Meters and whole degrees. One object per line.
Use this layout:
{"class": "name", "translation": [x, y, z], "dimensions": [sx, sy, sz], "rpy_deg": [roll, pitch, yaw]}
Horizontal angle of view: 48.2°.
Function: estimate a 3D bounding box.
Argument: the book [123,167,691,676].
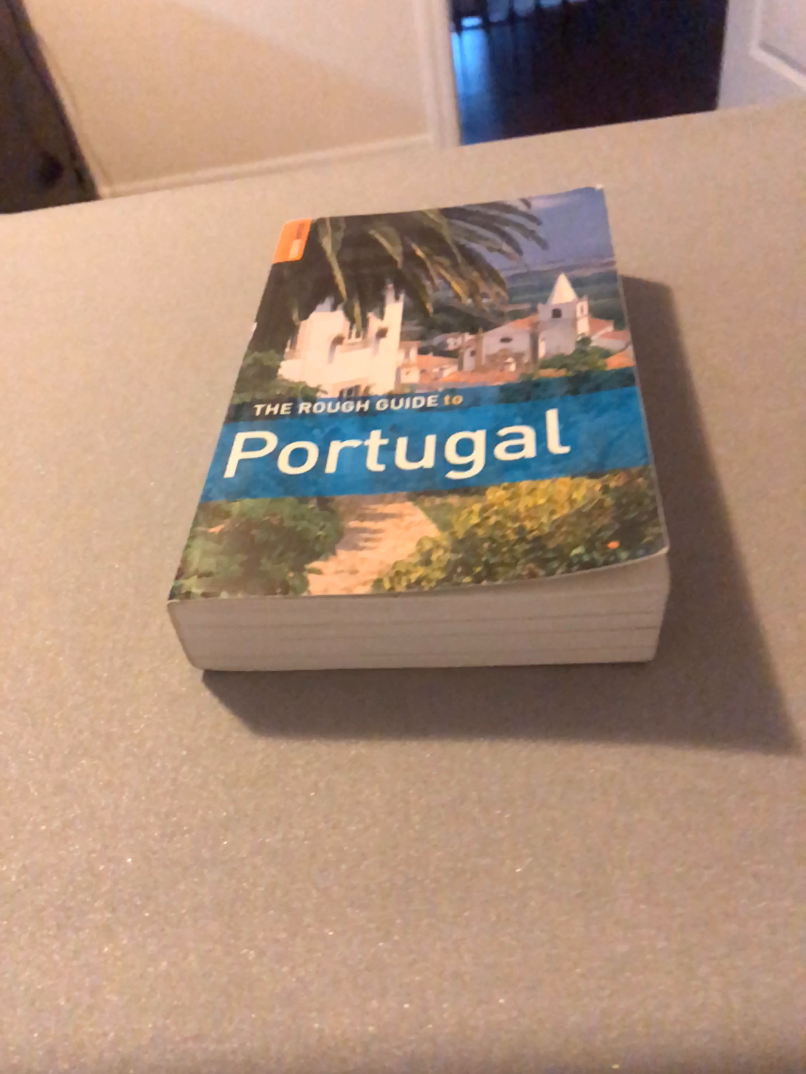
{"class": "book", "translation": [0.007, -0.052, 0.302], "dimensions": [0.139, 0.040, 0.205], "rpy_deg": [-3, 46, 8]}
